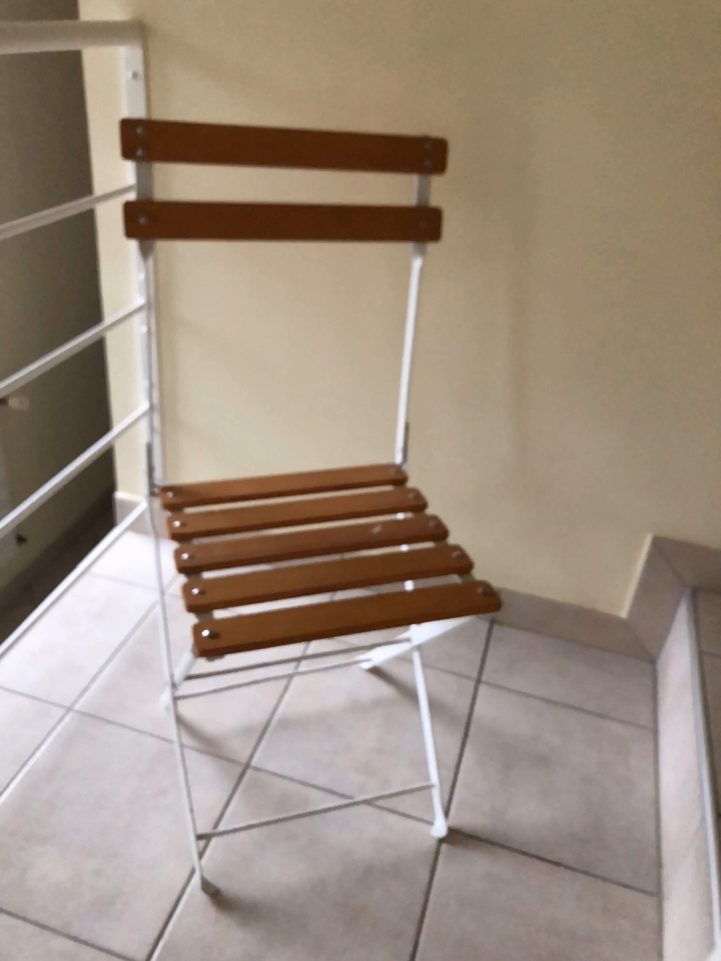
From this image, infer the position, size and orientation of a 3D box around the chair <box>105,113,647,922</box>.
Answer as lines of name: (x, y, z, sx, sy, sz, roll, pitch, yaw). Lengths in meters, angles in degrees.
chair: (-0.054, 0.041, 1.028, 0.441, 0.875, 0.432, -5, 30, -18)
